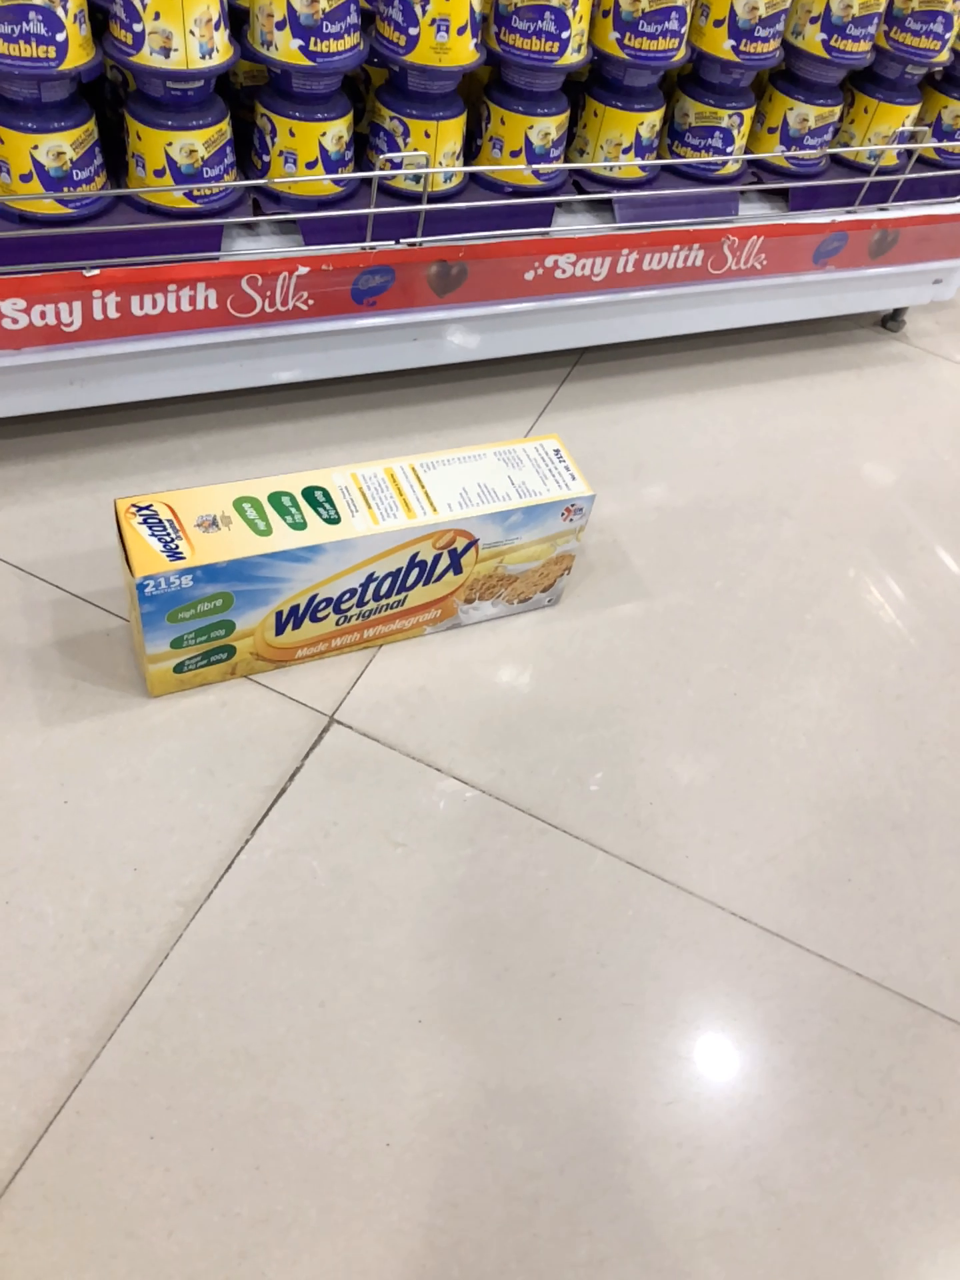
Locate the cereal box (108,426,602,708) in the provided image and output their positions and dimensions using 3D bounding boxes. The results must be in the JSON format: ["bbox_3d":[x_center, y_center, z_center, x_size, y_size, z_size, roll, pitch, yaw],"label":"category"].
[{"bbox_3d":[-0.066,-0.044,0.588,0.251,0.099,0.060,-13,55,-22],"label":"cereal box"}]
